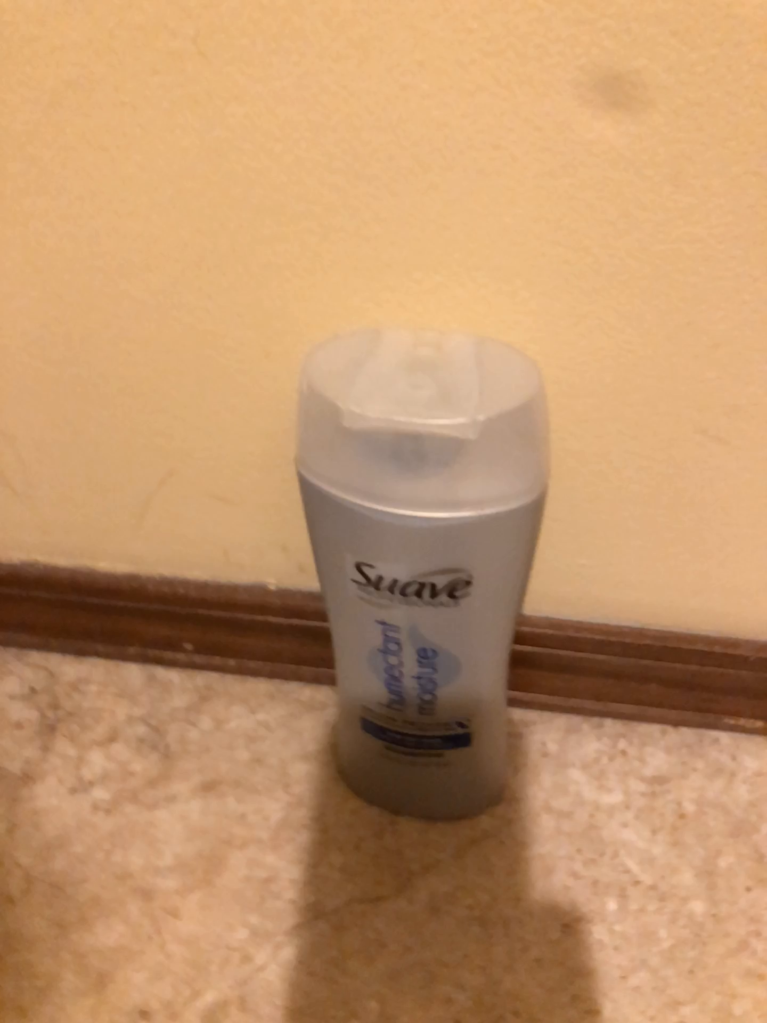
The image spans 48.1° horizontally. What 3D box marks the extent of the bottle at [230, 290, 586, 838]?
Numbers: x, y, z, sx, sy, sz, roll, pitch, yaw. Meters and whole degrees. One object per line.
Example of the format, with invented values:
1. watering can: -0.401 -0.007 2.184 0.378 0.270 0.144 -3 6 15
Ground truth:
1. bottle: 0.010 0.034 0.284 0.080 0.210 0.050 4 46 6
